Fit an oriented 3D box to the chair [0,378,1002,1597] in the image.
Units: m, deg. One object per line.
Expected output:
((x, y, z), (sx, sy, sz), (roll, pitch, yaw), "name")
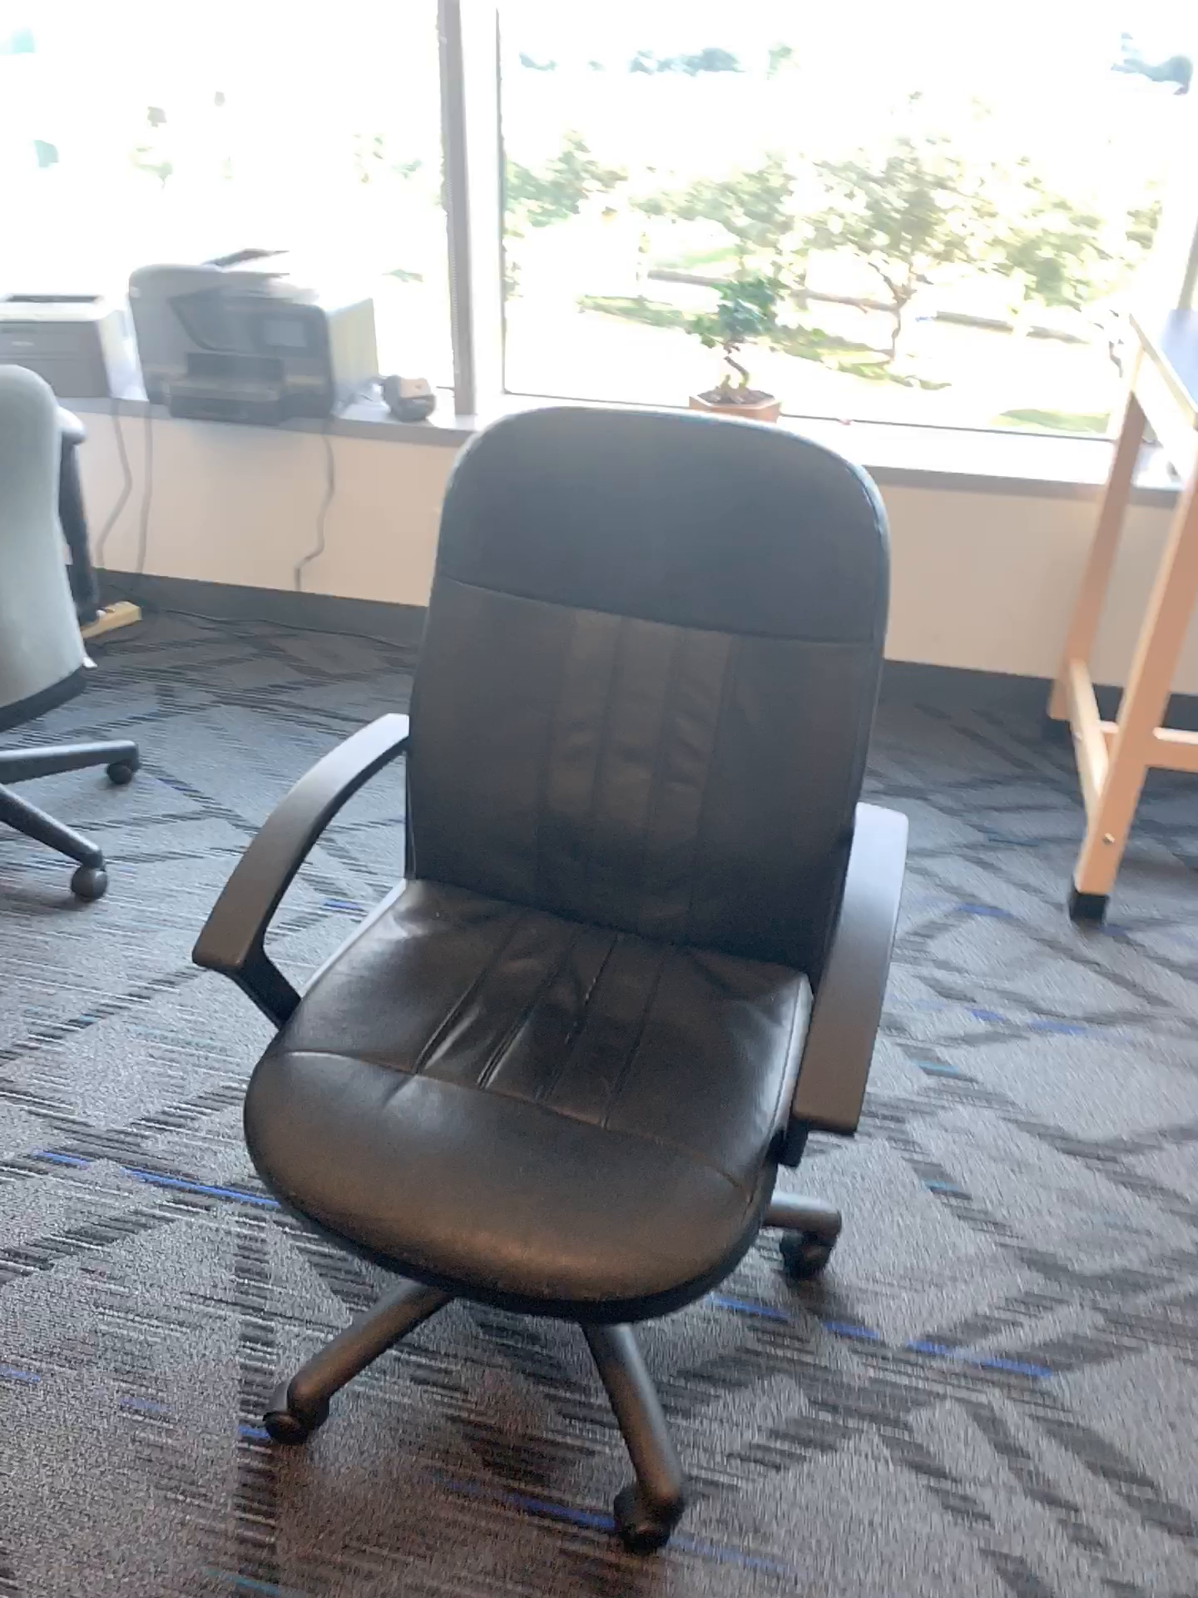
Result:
((-0.044, 0.136, 1.248), (0.700, 0.892, 0.695), (10, 32, 14), "chair")
